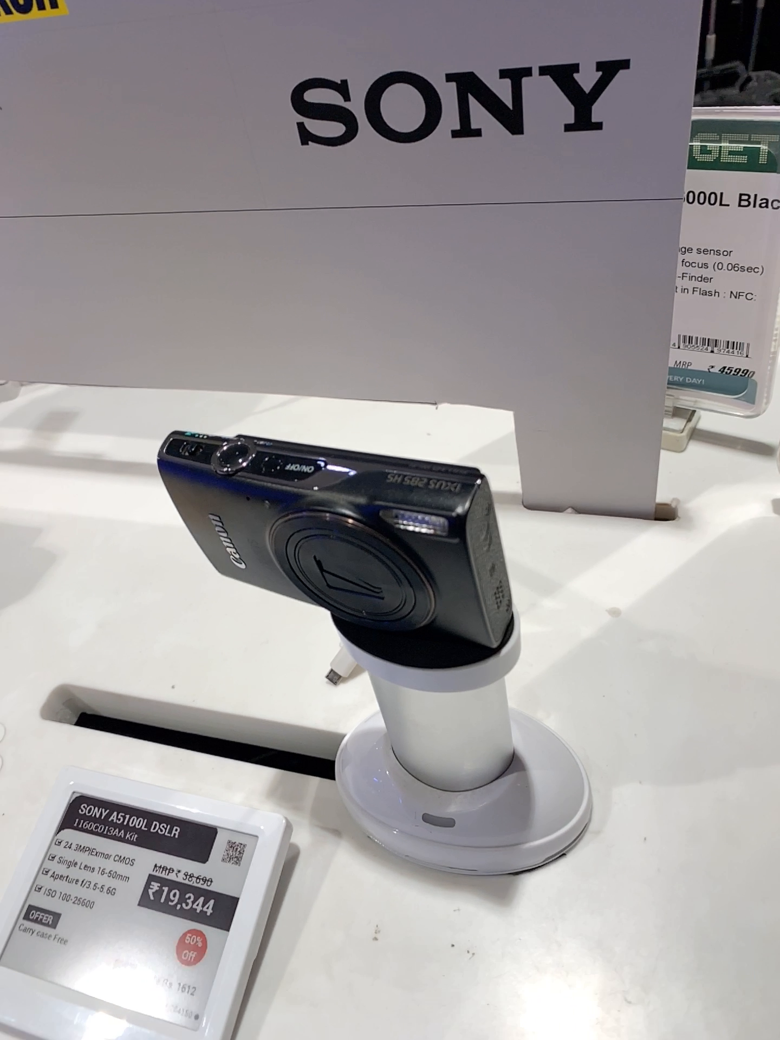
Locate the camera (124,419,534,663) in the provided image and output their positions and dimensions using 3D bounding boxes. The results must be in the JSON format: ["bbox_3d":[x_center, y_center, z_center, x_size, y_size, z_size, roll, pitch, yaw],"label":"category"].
[{"bbox_3d":[-0.015,0.005,0.212,0.100,0.050,0.020,10,50,21],"label":"camera"}]
